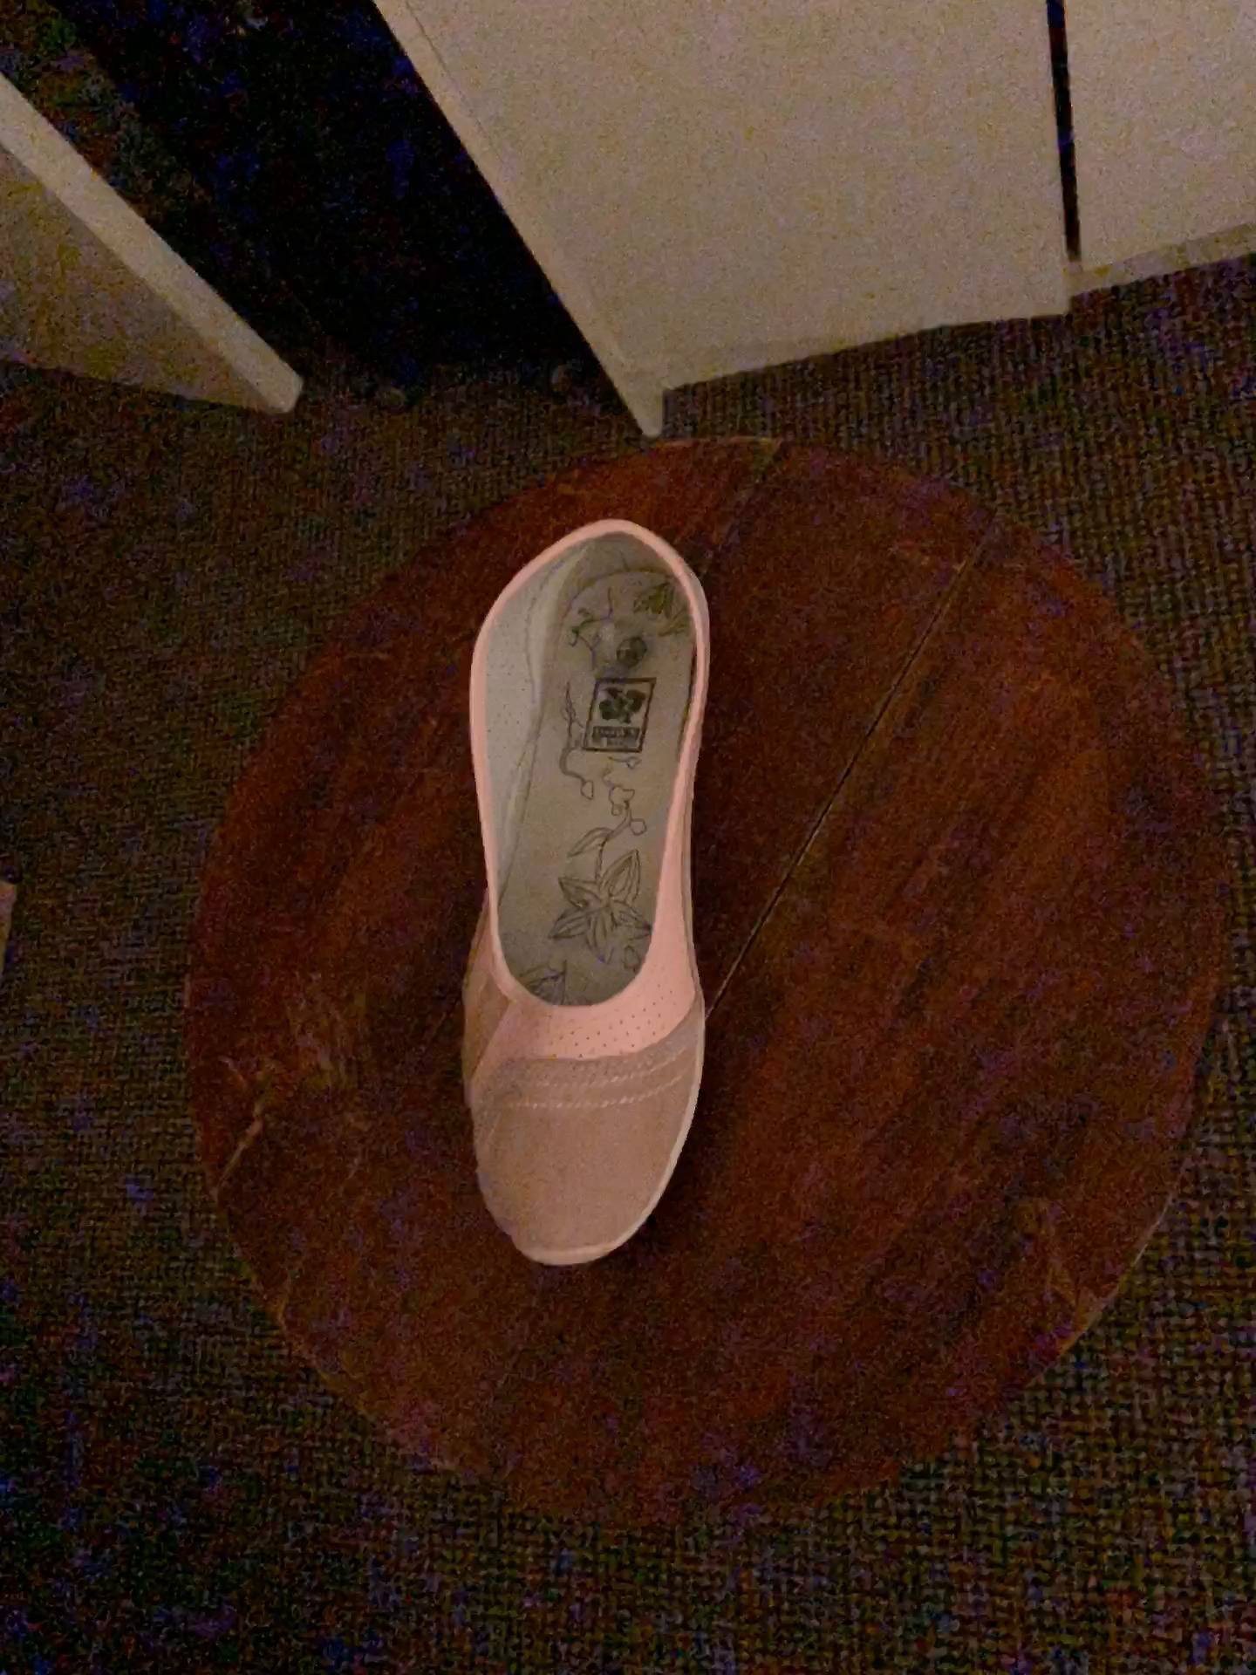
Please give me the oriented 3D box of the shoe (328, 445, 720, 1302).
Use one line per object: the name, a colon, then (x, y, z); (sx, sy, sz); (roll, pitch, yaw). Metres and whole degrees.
shoe: (-0.027, 0.010, 0.437); (0.090, 0.070, 0.271); (-4, 71, 21)
